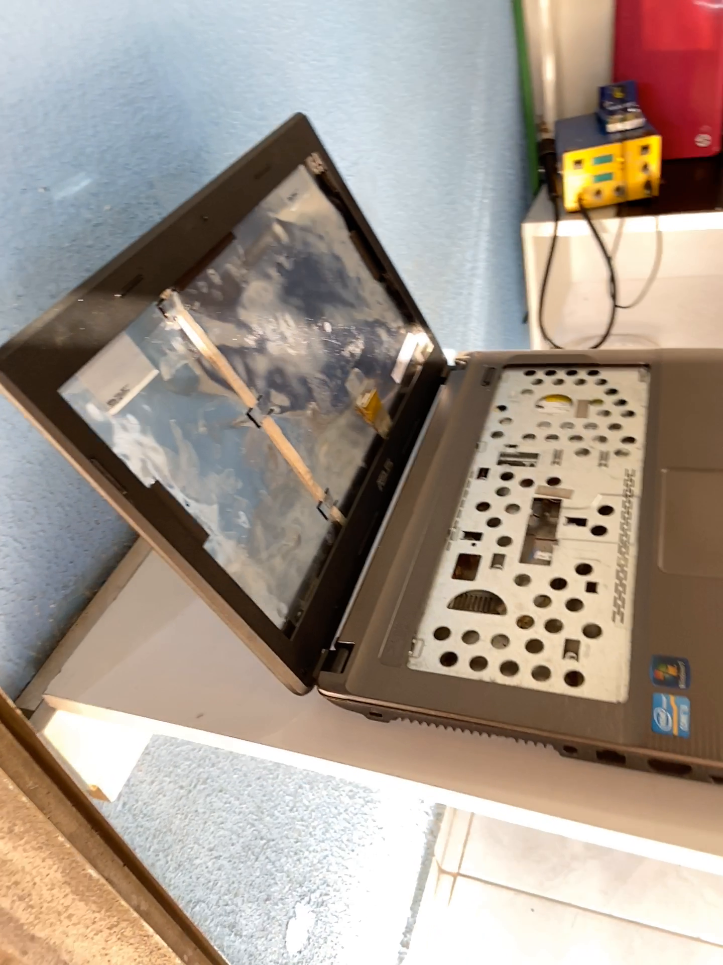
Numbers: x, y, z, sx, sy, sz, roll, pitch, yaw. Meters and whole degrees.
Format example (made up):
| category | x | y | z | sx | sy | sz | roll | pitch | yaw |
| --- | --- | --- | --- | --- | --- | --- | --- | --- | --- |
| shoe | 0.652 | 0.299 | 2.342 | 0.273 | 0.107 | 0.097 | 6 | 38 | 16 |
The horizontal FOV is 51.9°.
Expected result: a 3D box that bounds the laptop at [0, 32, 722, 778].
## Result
| category | x | y | z | sx | sy | sz | roll | pitch | yaw |
| --- | --- | --- | --- | --- | --- | --- | --- | --- | --- |
| laptop | 0.072 | -0.074 | 0.419 | 0.327 | 0.202 | 0.338 | 3 | 40 | 22 |
